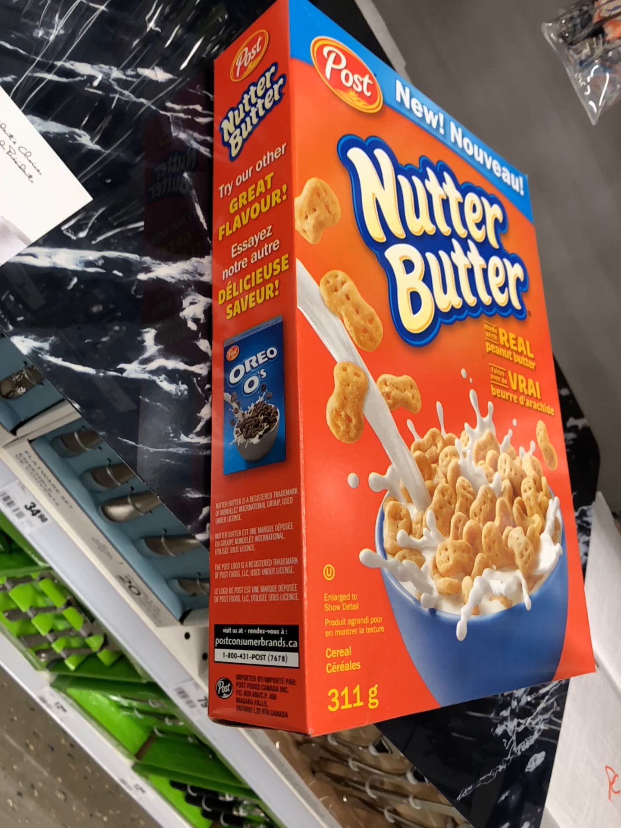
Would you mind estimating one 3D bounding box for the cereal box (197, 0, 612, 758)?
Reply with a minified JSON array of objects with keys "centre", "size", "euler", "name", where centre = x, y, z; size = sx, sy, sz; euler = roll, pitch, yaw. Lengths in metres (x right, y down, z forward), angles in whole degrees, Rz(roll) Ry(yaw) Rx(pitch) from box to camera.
[{"centre":[0.053,-0.027,0.322],"size":[0.211,0.050,0.300],"euler":[12,71,-43],"name":"cereal box"}]
